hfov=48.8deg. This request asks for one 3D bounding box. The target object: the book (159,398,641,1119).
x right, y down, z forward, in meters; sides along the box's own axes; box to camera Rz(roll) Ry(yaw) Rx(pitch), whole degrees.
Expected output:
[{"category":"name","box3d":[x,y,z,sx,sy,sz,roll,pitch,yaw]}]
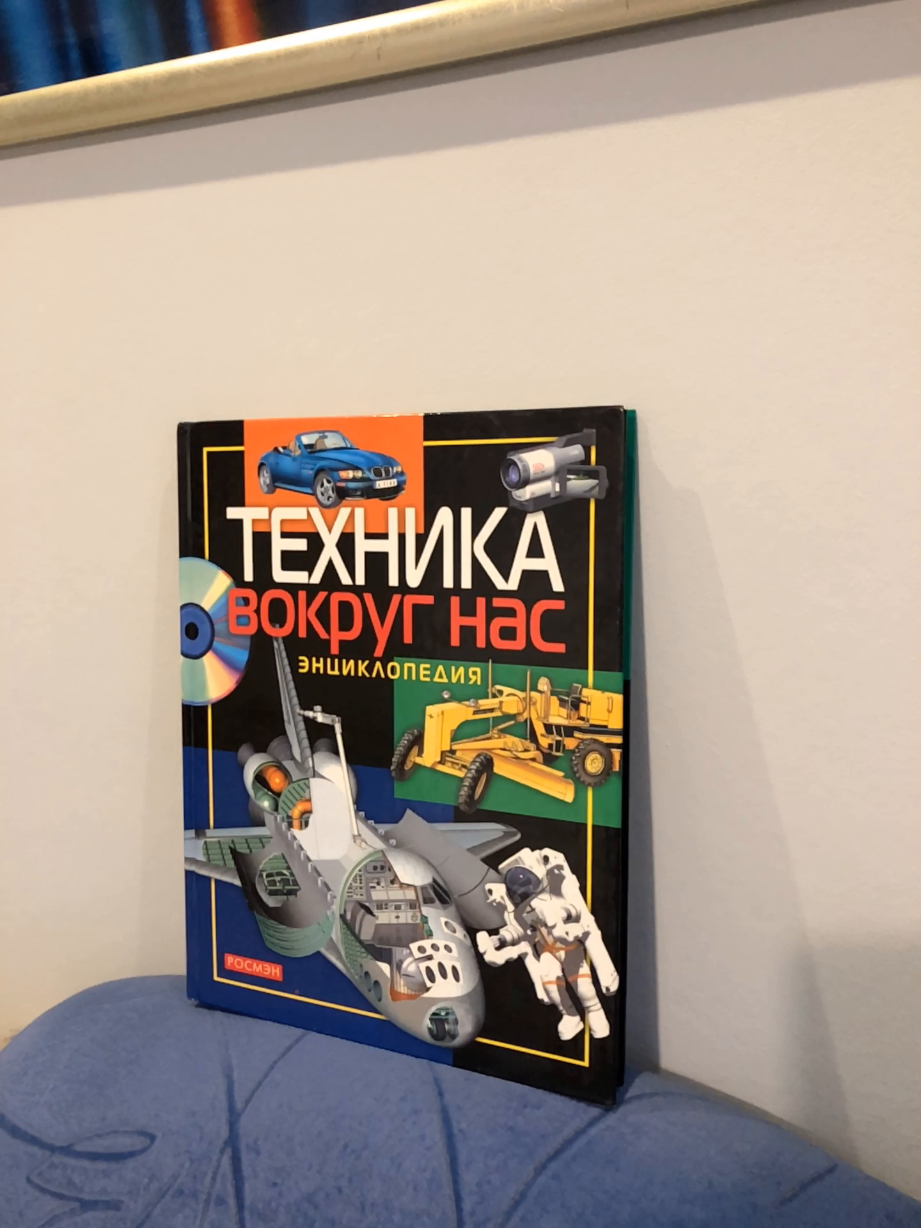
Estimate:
[{"category":"book","box3d":[-0.033,0.054,0.448,0.220,0.280,0.030,2,5,25]}]
